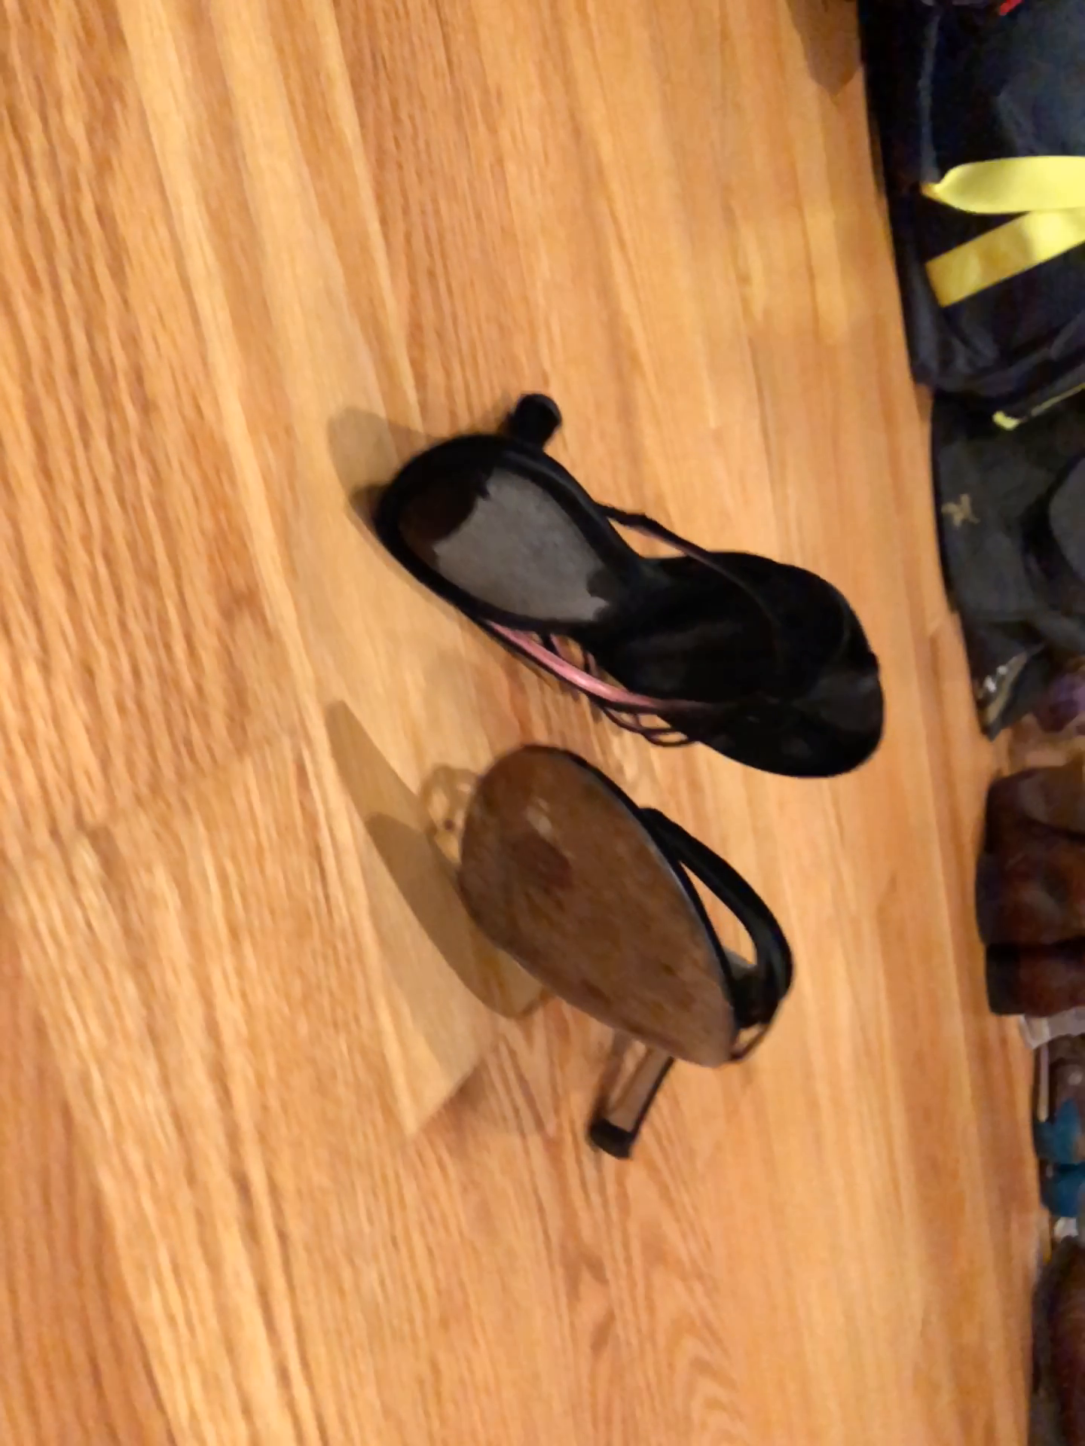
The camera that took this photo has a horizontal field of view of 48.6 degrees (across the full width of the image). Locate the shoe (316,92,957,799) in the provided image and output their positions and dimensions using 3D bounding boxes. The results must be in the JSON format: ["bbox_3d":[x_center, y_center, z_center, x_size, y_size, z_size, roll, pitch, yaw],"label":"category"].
[{"bbox_3d":[0.052,-0.054,0.366,0.236,0.104,0.082,39,54,-55],"label":"shoe"}]

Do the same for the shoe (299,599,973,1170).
[{"bbox_3d":[0.048,0.064,0.339,0.216,0.104,0.102,37,53,-55],"label":"shoe"}]
